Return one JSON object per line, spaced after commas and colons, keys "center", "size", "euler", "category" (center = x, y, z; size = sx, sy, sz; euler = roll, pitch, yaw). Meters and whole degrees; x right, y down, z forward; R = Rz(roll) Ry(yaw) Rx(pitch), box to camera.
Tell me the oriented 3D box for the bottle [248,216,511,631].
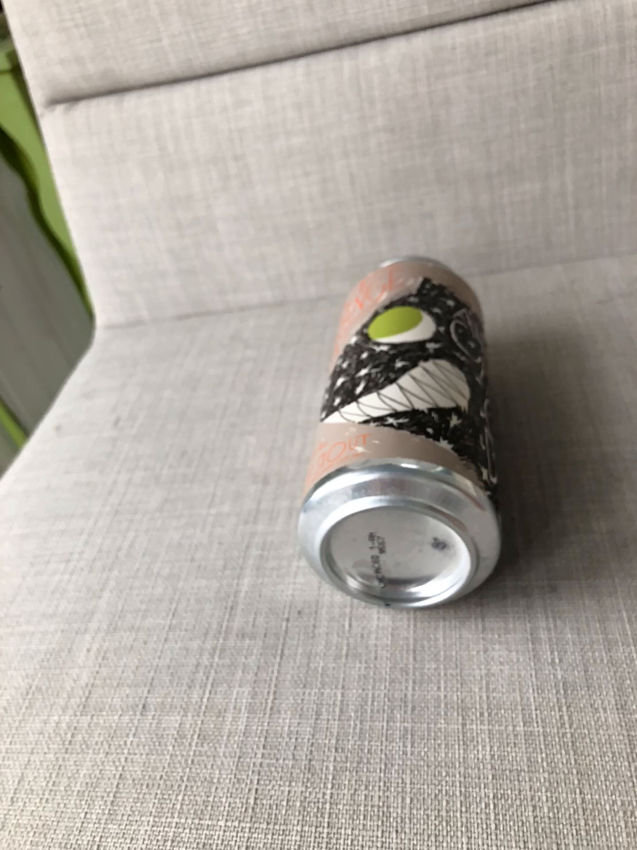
{"center": [0.029, -0.008, 0.275], "size": [0.070, 0.069, 0.151], "euler": [-5, 41, 13], "category": "bottle"}
